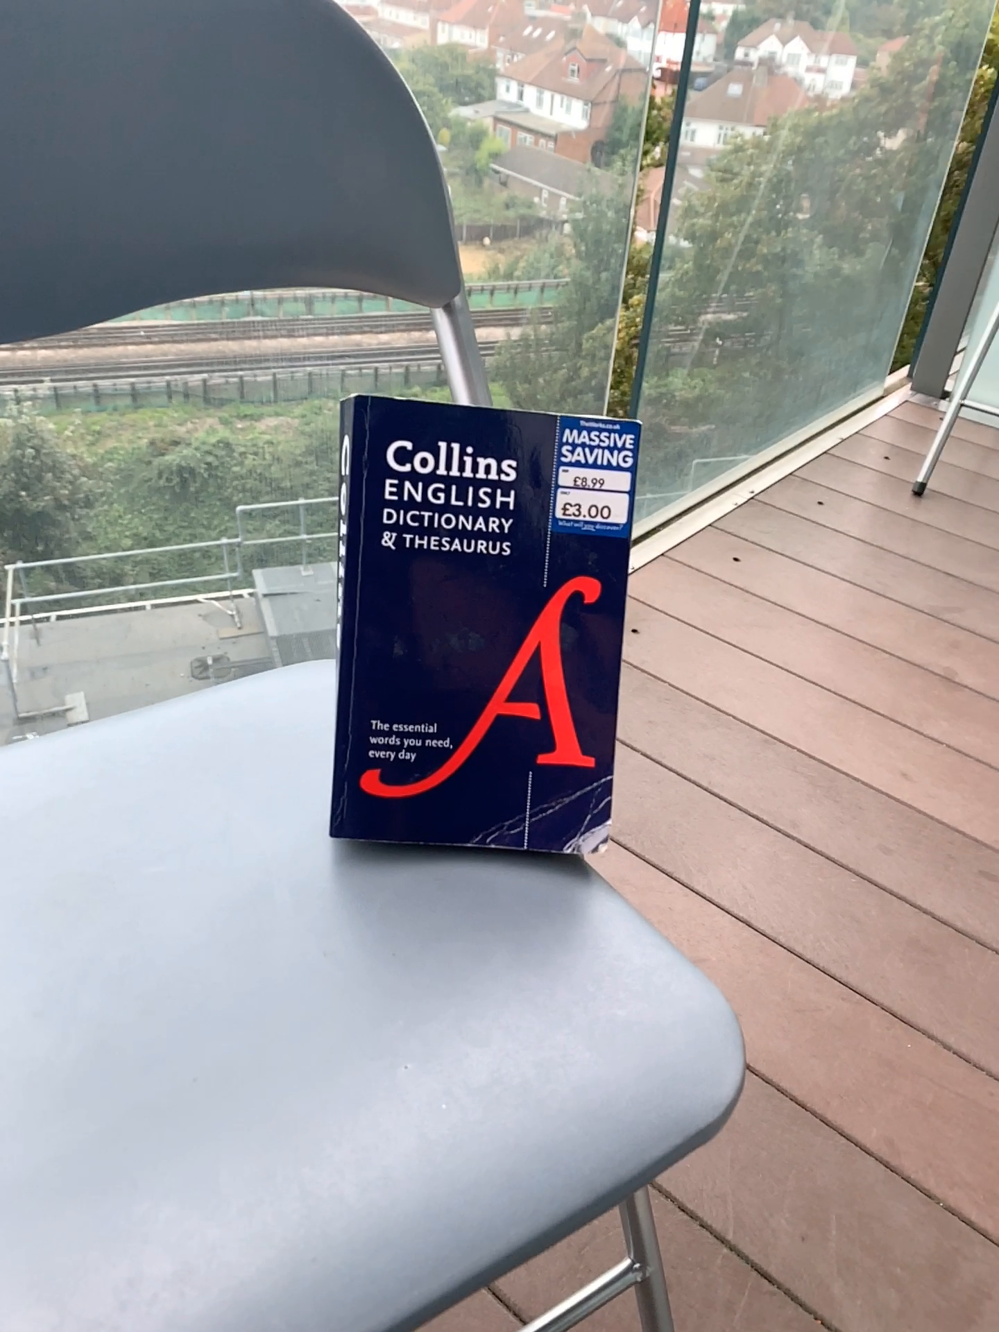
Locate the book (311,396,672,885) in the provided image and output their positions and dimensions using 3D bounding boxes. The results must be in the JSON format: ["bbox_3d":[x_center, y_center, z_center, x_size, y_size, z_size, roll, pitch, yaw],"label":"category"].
[{"bbox_3d":[-0.006,-0.012,0.462,0.140,0.199,0.060,4,8,-1],"label":"book"}]
